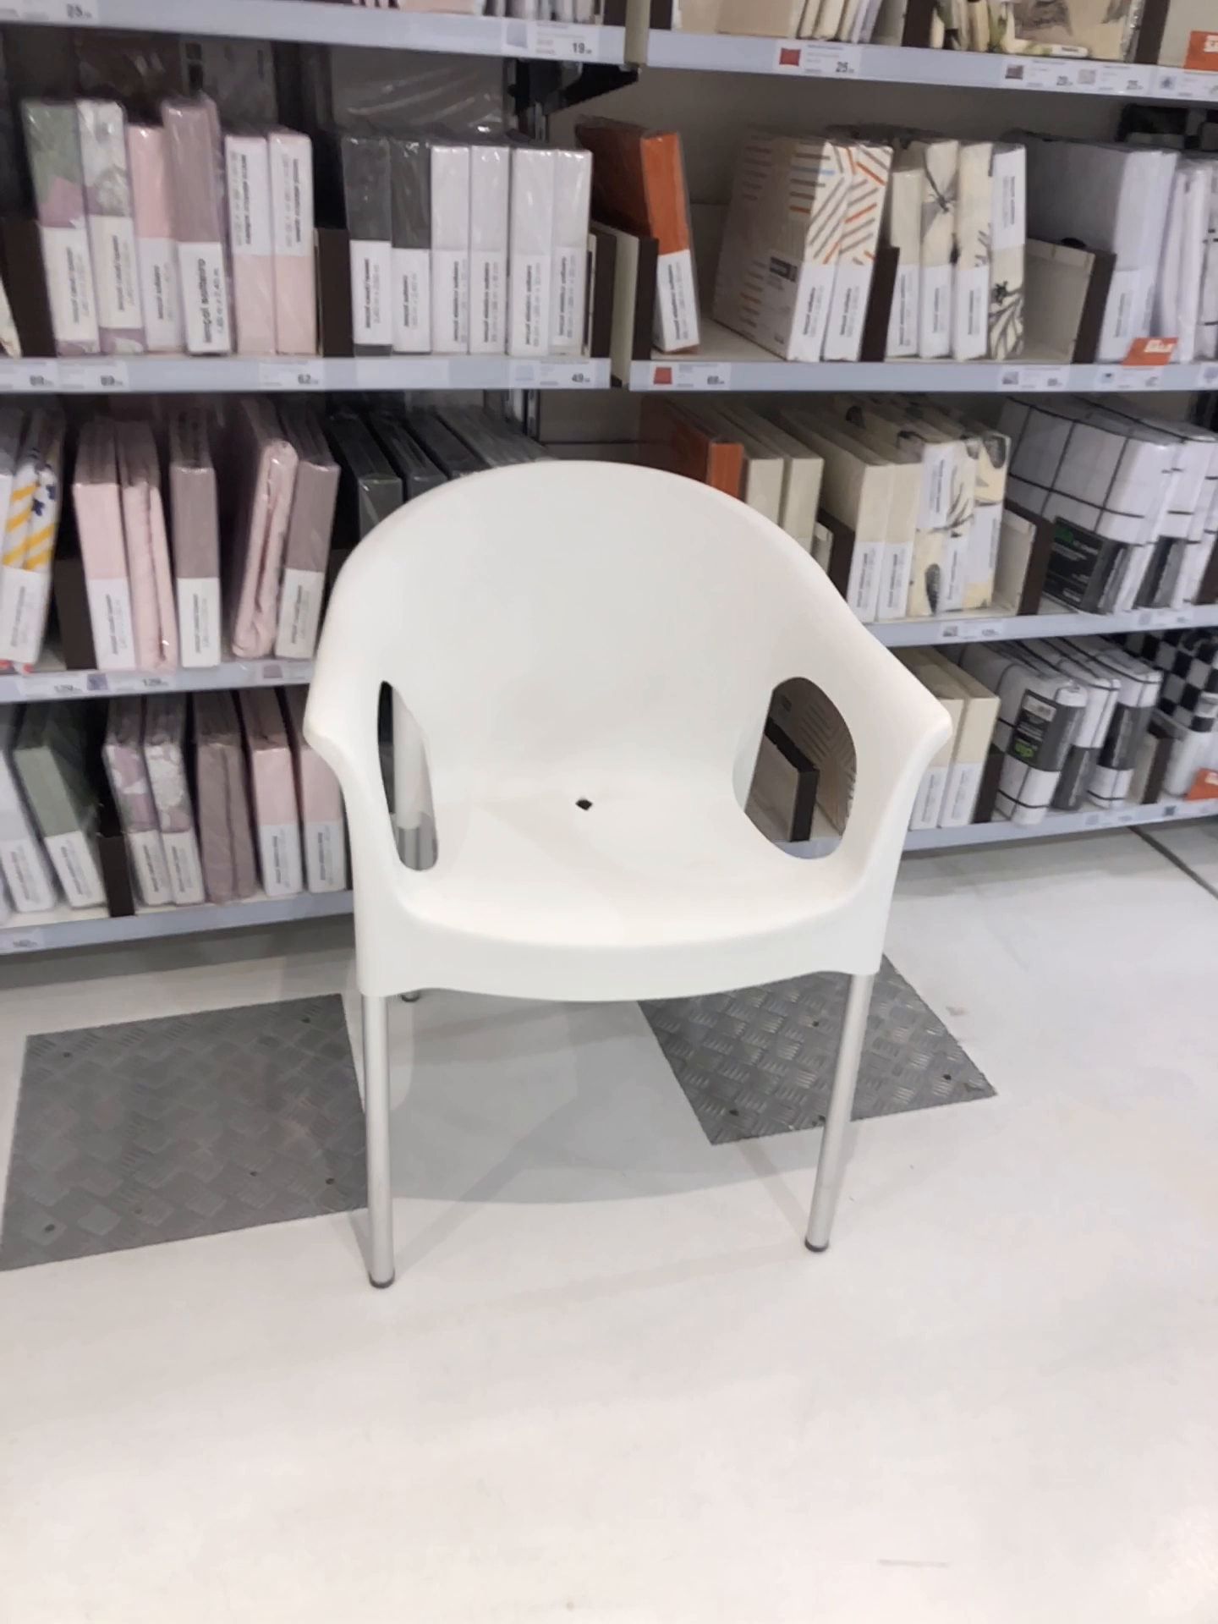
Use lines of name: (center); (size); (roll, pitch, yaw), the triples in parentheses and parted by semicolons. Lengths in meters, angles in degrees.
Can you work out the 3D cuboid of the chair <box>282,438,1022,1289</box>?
chair: (-0.014, 0.023, 1.453); (0.590, 0.705, 0.554); (-1, 29, -9)
